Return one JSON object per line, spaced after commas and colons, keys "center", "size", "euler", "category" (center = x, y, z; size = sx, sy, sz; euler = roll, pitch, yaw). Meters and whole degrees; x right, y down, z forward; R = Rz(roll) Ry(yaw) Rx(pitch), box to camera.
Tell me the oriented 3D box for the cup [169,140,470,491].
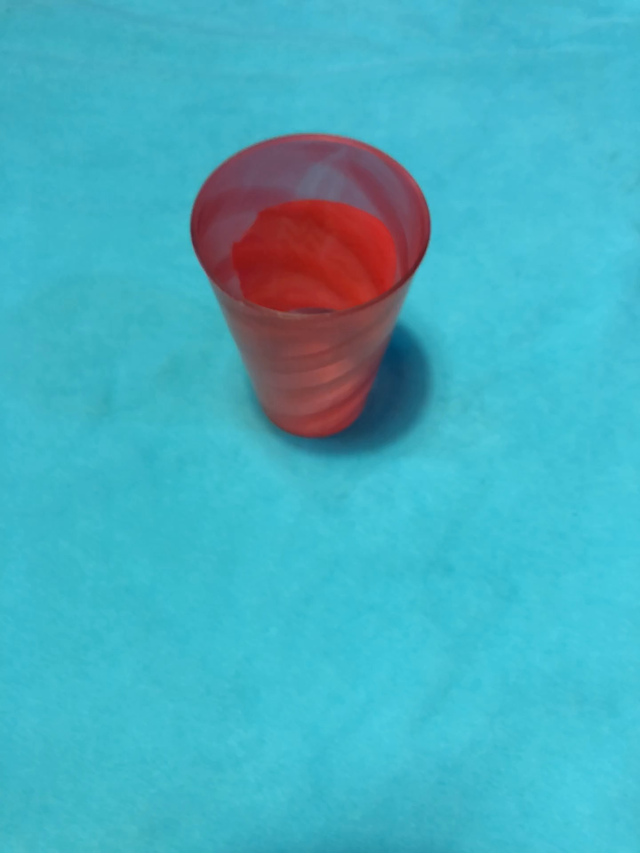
{"center": [-0.001, -0.037, 0.285], "size": [0.090, 0.110, 0.090], "euler": [0, 63, 0], "category": "cup"}
